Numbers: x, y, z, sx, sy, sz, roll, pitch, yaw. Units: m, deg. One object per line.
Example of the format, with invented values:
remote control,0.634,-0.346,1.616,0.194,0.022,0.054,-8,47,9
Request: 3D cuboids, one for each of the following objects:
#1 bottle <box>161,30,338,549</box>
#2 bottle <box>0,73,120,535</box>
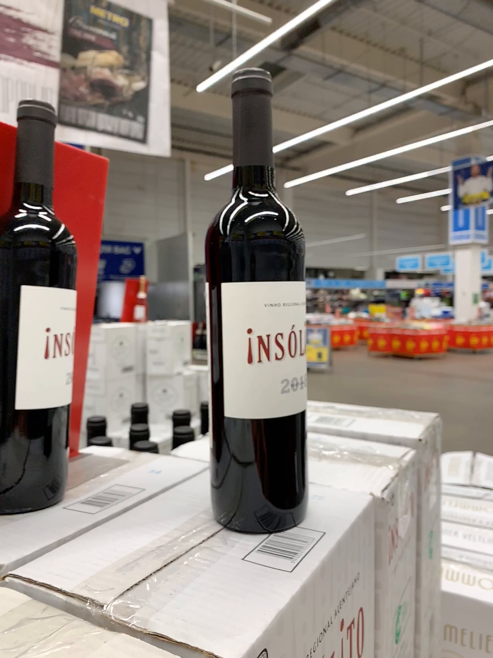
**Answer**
bottle,0.004,-0.024,0.370,0.090,0.310,0.090,0,2,0
bottle,-0.174,-0.020,0.408,0.090,0.320,0.090,5,1,0
